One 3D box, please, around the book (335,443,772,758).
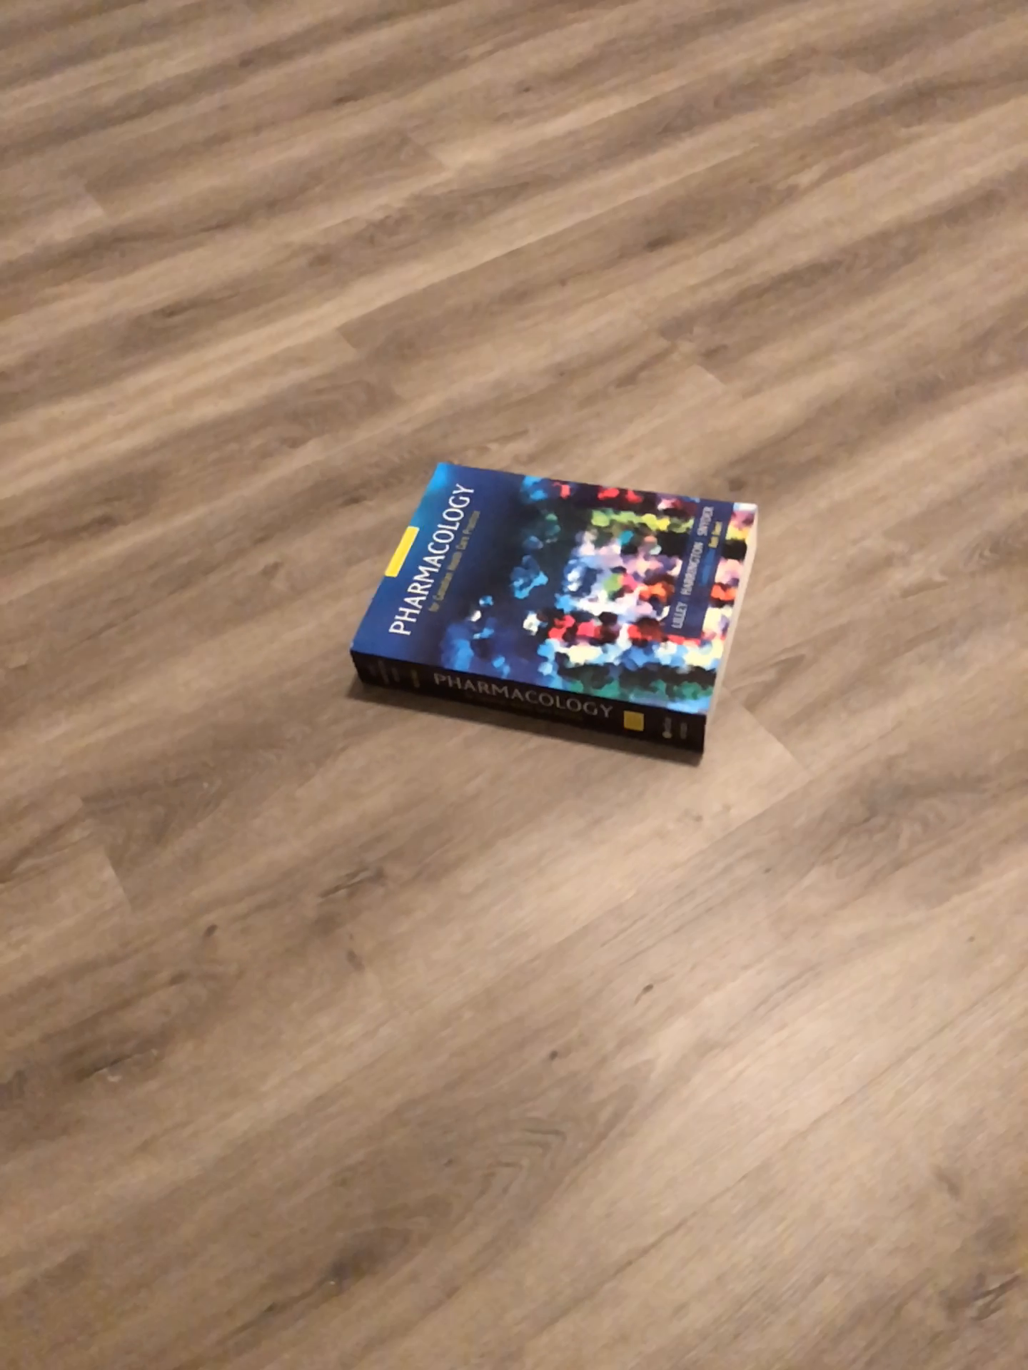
[{"bbox_3d":[0.038,-0.075,0.866,0.277,0.046,0.229,10,54,13],"label":"book"}]
